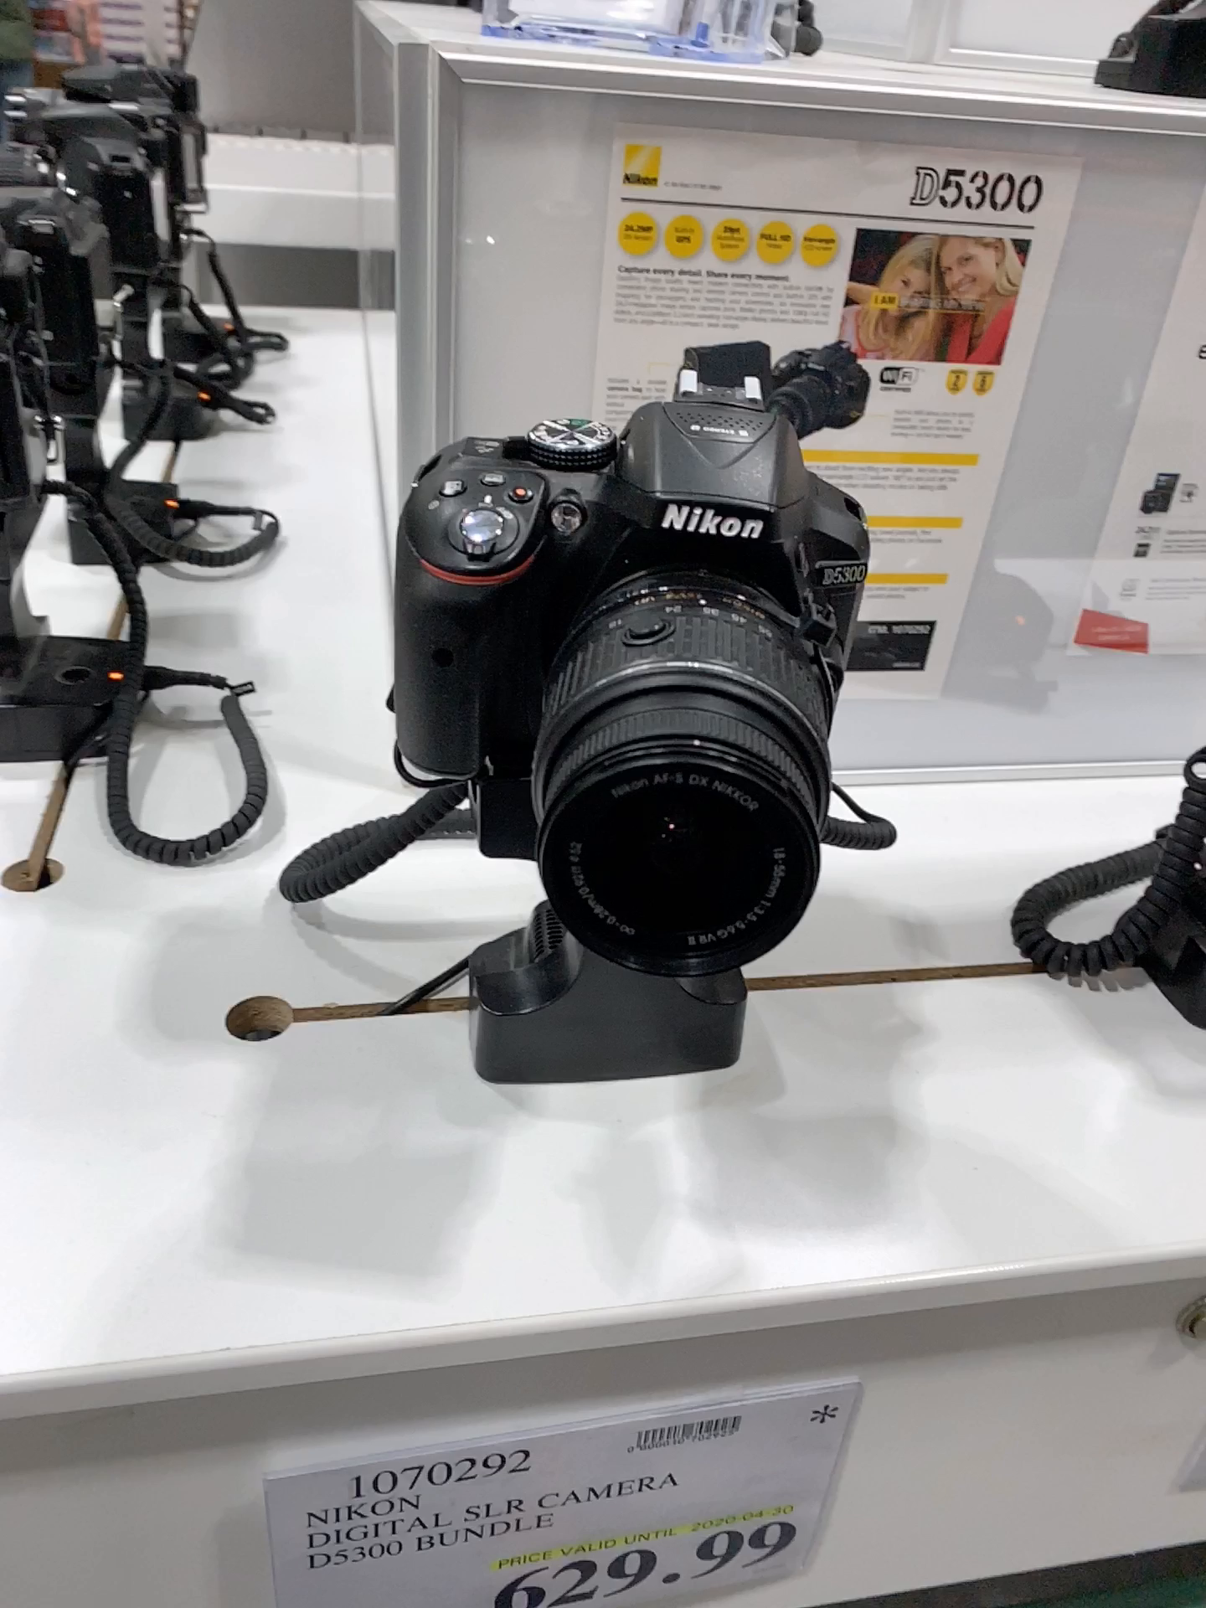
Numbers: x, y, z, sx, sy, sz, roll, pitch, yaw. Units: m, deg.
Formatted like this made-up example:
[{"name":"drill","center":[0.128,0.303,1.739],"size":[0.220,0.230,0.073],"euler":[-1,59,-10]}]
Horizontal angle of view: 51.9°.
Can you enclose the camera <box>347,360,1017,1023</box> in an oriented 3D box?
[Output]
[{"name":"camera","center":[0.012,-0.038,0.311],"size":[0.120,0.099,0.151],"euler":[4,32,-2]}]
